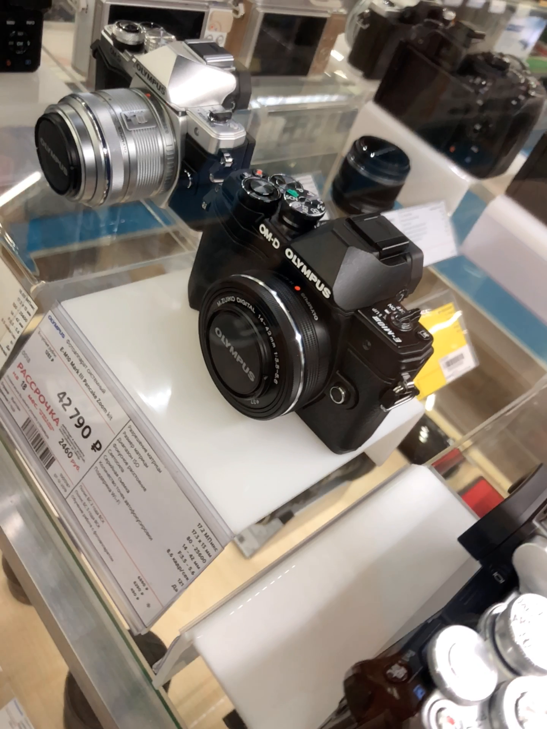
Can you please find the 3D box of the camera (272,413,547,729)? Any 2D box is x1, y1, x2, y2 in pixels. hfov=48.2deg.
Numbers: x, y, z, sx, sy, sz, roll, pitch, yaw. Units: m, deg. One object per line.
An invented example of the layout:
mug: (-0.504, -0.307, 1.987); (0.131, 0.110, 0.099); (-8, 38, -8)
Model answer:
camera: (0.085, 0.092, 0.175); (0.124, 0.074, 0.094); (-24, 61, -40)

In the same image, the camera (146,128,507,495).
camera: (0.012, -0.029, 0.263); (0.064, 0.082, 0.129); (-19, 58, -38)

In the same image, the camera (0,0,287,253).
camera: (-0.074, -0.131, 0.316); (0.094, 0.080, 0.112); (-19, 58, -38)
